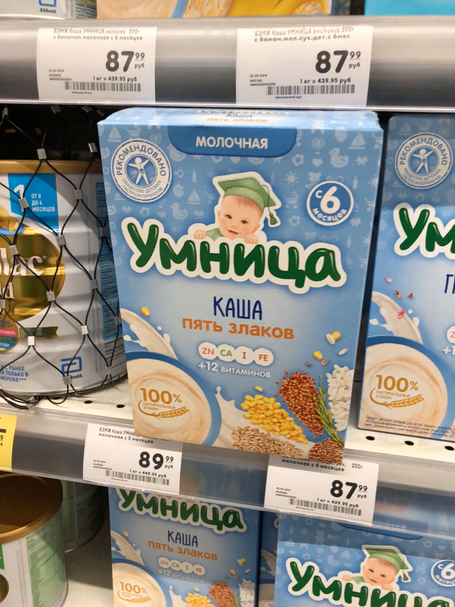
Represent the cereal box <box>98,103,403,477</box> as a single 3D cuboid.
[{"bbox_3d":[0.016,-0.005,0.303,0.140,0.209,0.060,4,28,11],"label":"cereal box"}]
